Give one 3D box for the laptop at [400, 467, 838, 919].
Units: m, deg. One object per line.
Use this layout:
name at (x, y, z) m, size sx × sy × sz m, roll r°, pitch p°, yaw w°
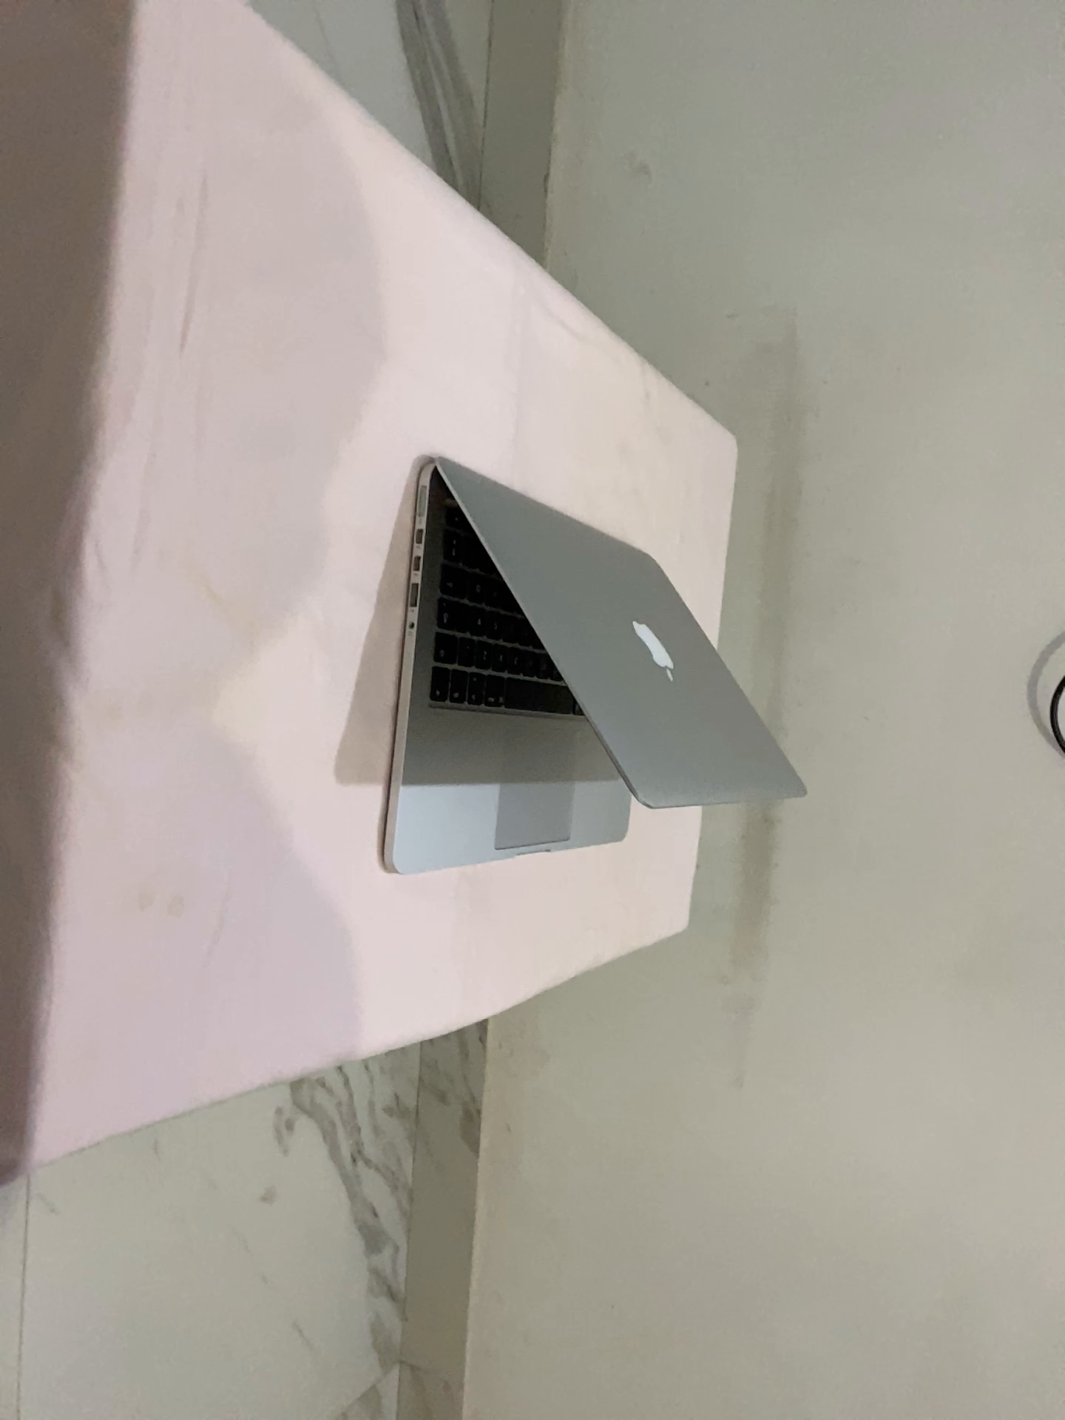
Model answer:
laptop at (0.073, -0.010, 0.661) m, size 0.298 × 0.138 × 0.208 m, roll 4°, pitch 93°, yaw -63°
